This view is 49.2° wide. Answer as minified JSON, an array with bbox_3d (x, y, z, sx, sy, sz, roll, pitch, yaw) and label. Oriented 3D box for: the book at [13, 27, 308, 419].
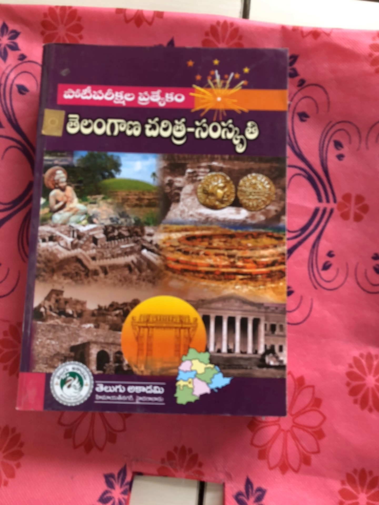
[{"bbox_3d":[-0.016,-0.026,0.321,0.200,0.050,0.280,2,83,0],"label":"book"}]
